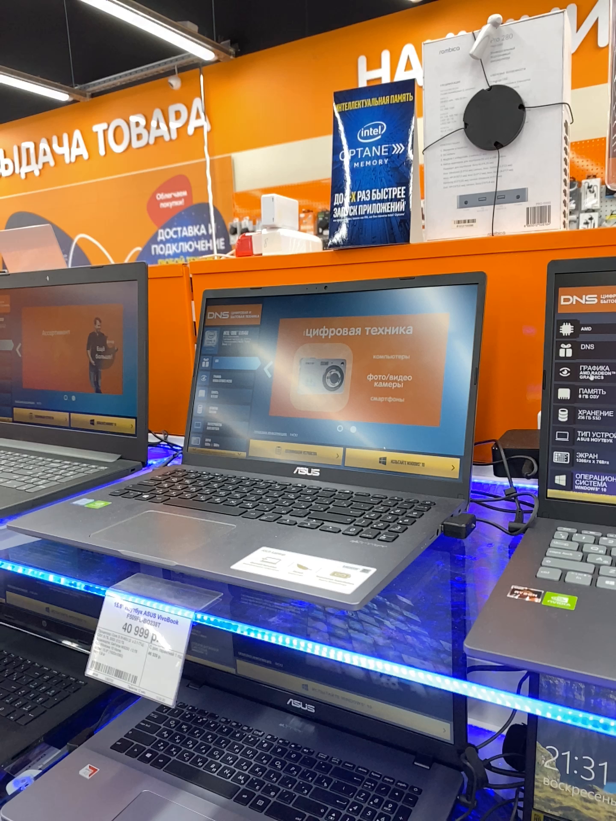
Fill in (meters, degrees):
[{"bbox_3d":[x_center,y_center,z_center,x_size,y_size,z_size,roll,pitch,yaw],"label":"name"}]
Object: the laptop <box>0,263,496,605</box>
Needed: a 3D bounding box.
[{"bbox_3d":[-0.042,-0.017,0.602,0.358,0.211,0.306,3,11,30],"label":"laptop"}]
